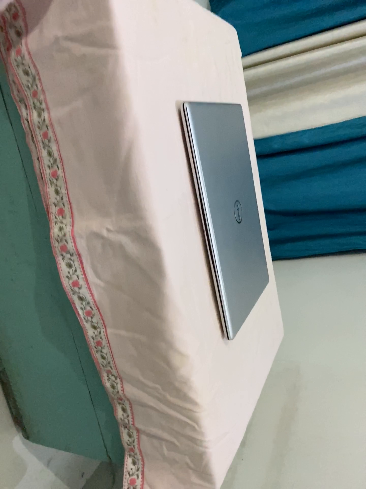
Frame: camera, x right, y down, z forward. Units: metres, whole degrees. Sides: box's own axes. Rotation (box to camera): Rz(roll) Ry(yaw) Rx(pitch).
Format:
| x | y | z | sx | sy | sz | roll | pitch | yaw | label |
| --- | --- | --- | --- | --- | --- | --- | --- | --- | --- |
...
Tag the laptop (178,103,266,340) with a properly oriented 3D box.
| x | y | z | sx | sy | sz | roll | pitch | yaw | label |
| --- | --- | --- | --- | --- | --- | --- | --- | --- | --- |
| 0.084 | -0.054 | 0.646 | 0.237 | 0.004 | 0.359 | -35 | 117 | -57 | laptop |
